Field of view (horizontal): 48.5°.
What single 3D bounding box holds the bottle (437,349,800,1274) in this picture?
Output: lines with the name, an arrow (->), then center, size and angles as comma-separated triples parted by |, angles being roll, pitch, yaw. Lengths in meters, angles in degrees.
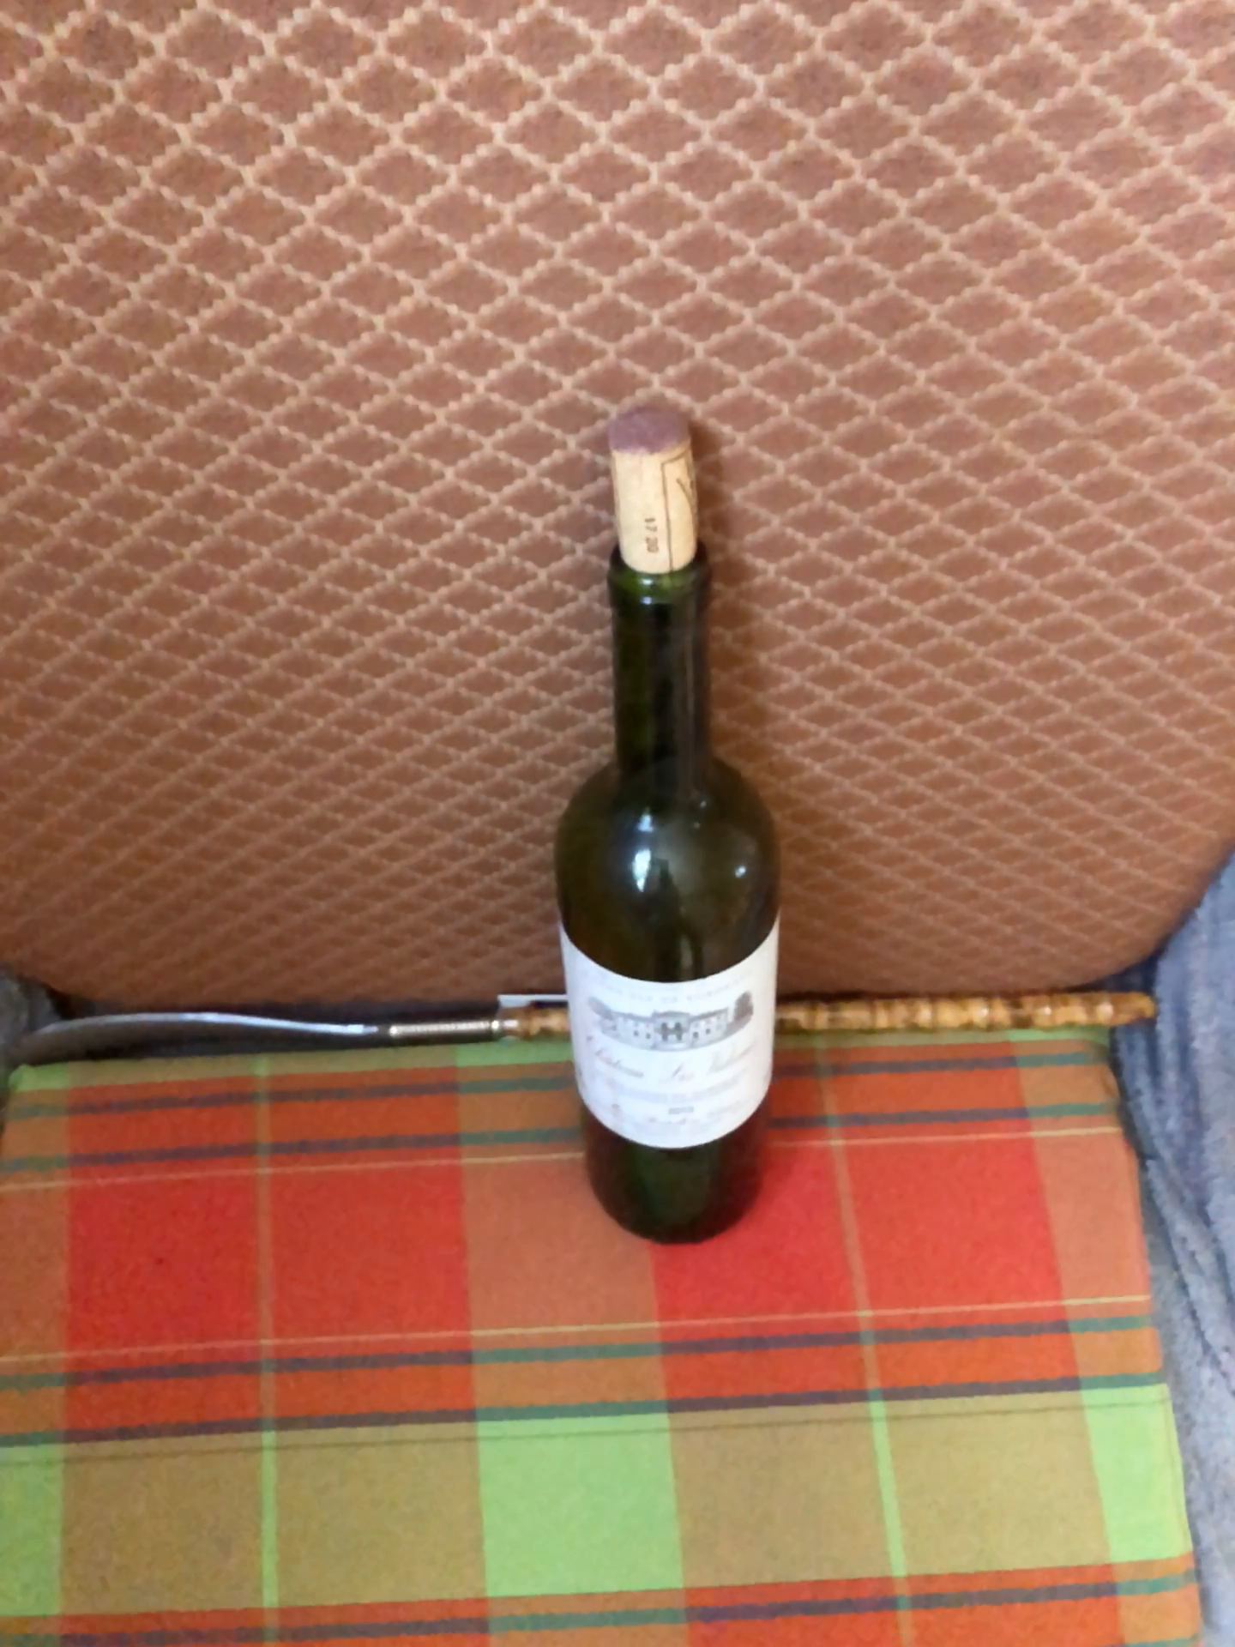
bottle -> 0.014, 0.026, 0.443 | 0.080, 0.339, 0.070 | 1, 44, 7
